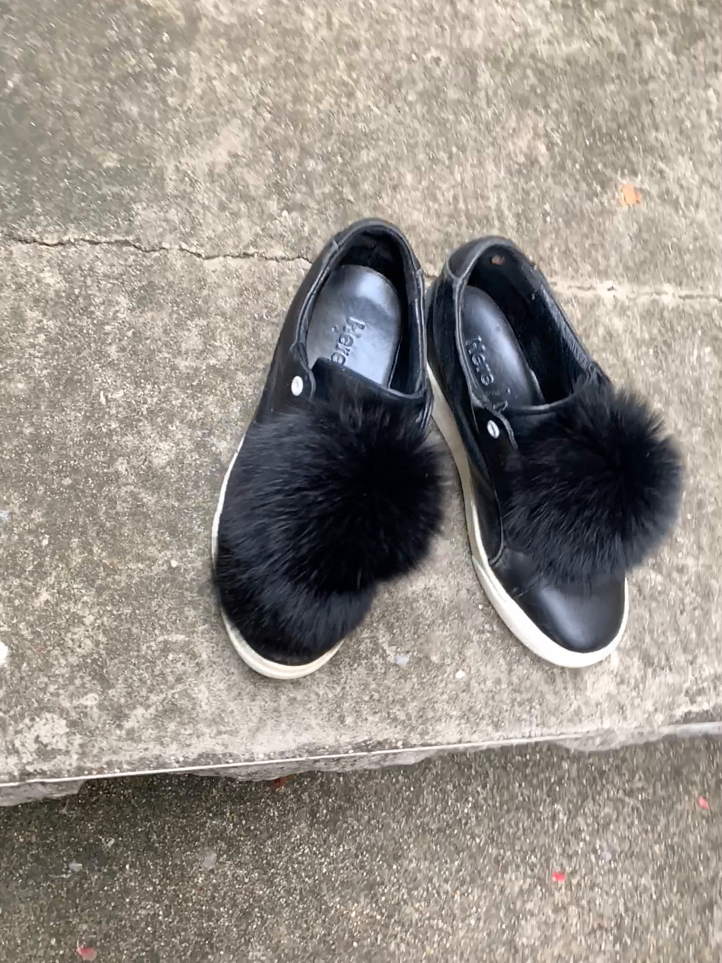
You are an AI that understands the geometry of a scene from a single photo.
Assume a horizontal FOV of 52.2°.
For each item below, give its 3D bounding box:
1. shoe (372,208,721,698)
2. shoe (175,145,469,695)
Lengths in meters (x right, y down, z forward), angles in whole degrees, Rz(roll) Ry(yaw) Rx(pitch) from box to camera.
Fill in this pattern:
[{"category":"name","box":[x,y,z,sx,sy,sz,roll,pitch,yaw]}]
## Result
[{"category":"shoe","box":[0.105,-0.014,0.418,0.098,0.098,0.243,-17,78,-19]},{"category":"shoe","box":[-0.020,-0.030,0.404,0.095,0.098,0.269,14,71,-10]}]
